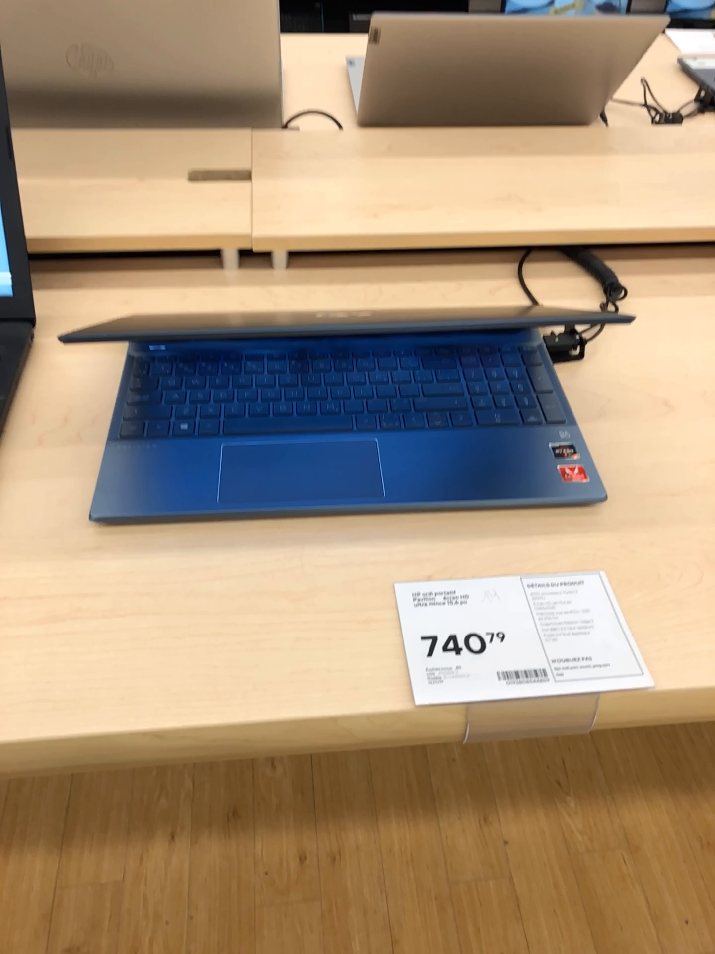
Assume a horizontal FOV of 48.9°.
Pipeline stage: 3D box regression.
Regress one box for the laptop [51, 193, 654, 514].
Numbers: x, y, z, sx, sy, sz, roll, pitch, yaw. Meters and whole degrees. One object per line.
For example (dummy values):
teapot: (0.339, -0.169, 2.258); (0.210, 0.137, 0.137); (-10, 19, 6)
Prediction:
laptop: (-0.007, -0.098, 0.569); (0.349, 0.119, 0.210); (-2, 45, -4)
